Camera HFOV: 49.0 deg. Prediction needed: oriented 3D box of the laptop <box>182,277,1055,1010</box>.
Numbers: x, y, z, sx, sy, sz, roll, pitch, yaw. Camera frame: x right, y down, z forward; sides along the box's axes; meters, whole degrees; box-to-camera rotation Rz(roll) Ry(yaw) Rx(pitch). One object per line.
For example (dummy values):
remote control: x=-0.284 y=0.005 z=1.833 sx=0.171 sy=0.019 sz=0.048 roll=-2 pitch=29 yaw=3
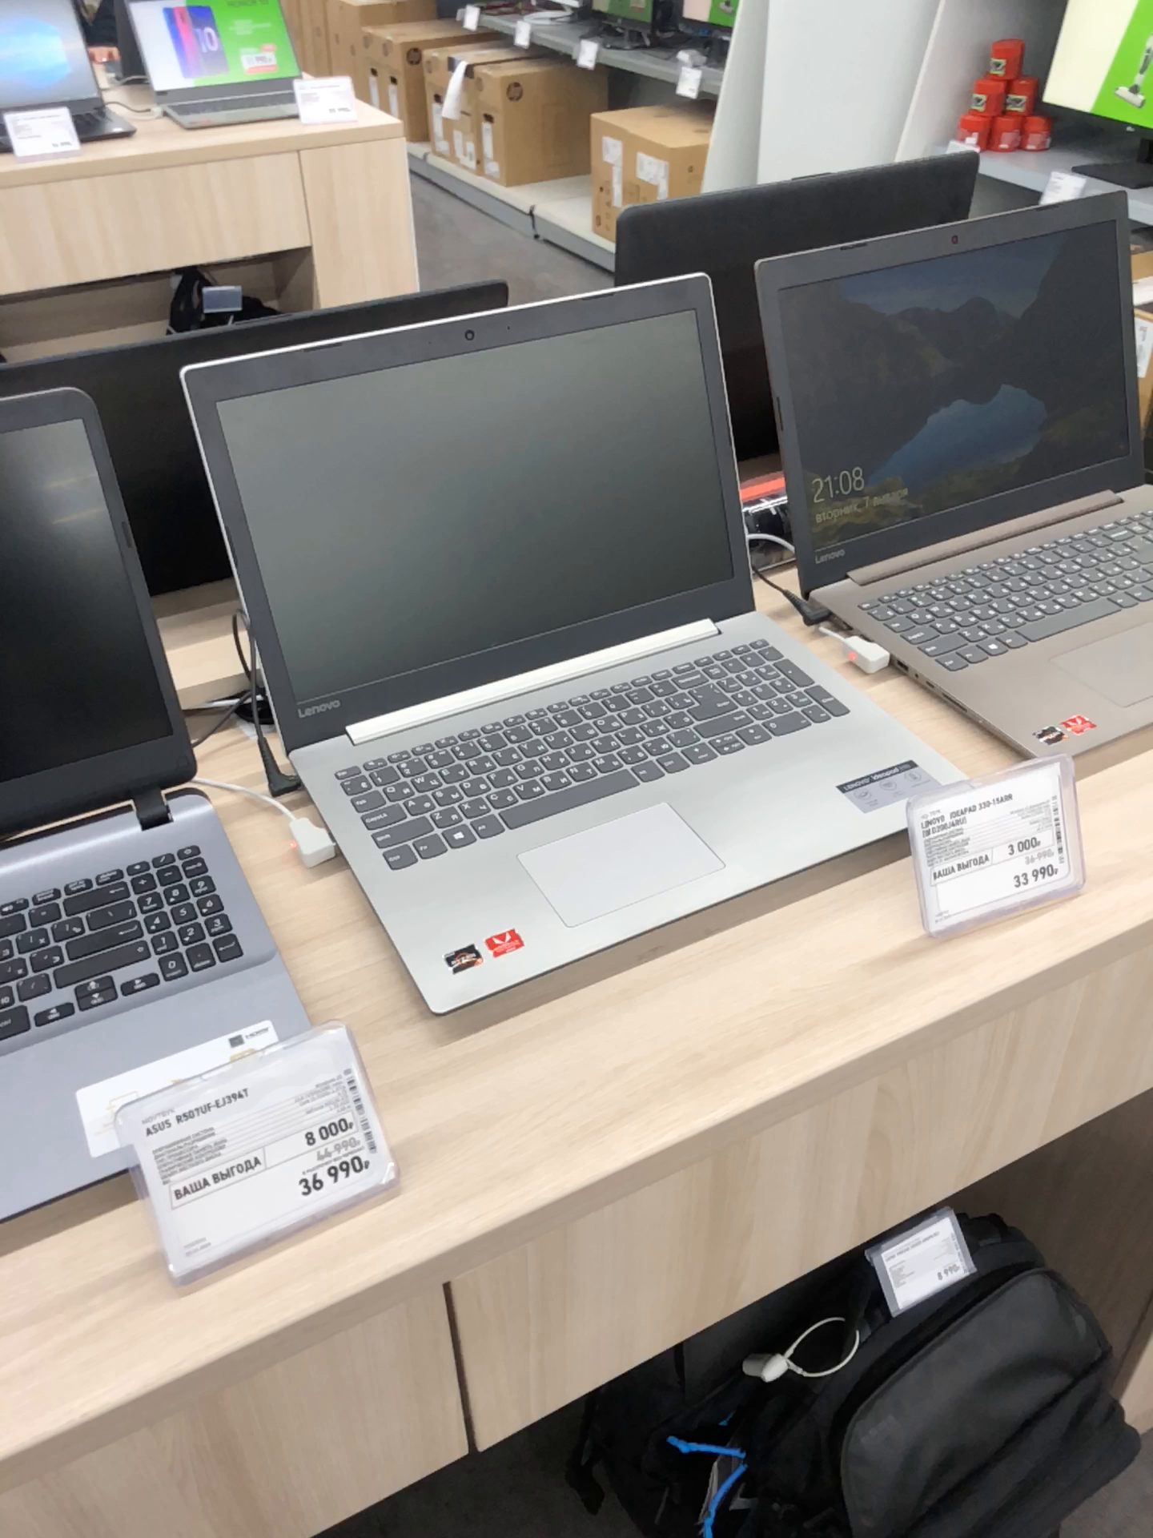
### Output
laptop: x=0.008 y=-0.110 z=0.763 sx=0.366 sy=0.220 sz=0.336 roll=-19 pitch=41 yaw=-21

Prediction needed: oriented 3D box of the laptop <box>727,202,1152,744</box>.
laptop: x=0.374 y=-0.236 z=0.914 sx=0.357 sy=0.222 sz=0.327 roll=-20 pitch=42 yaw=-23

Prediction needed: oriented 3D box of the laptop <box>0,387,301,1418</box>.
laptop: x=-0.343 y=0.018 z=0.590 sx=0.327 sy=0.232 sz=0.320 roll=-17 pitch=40 yaw=-21
